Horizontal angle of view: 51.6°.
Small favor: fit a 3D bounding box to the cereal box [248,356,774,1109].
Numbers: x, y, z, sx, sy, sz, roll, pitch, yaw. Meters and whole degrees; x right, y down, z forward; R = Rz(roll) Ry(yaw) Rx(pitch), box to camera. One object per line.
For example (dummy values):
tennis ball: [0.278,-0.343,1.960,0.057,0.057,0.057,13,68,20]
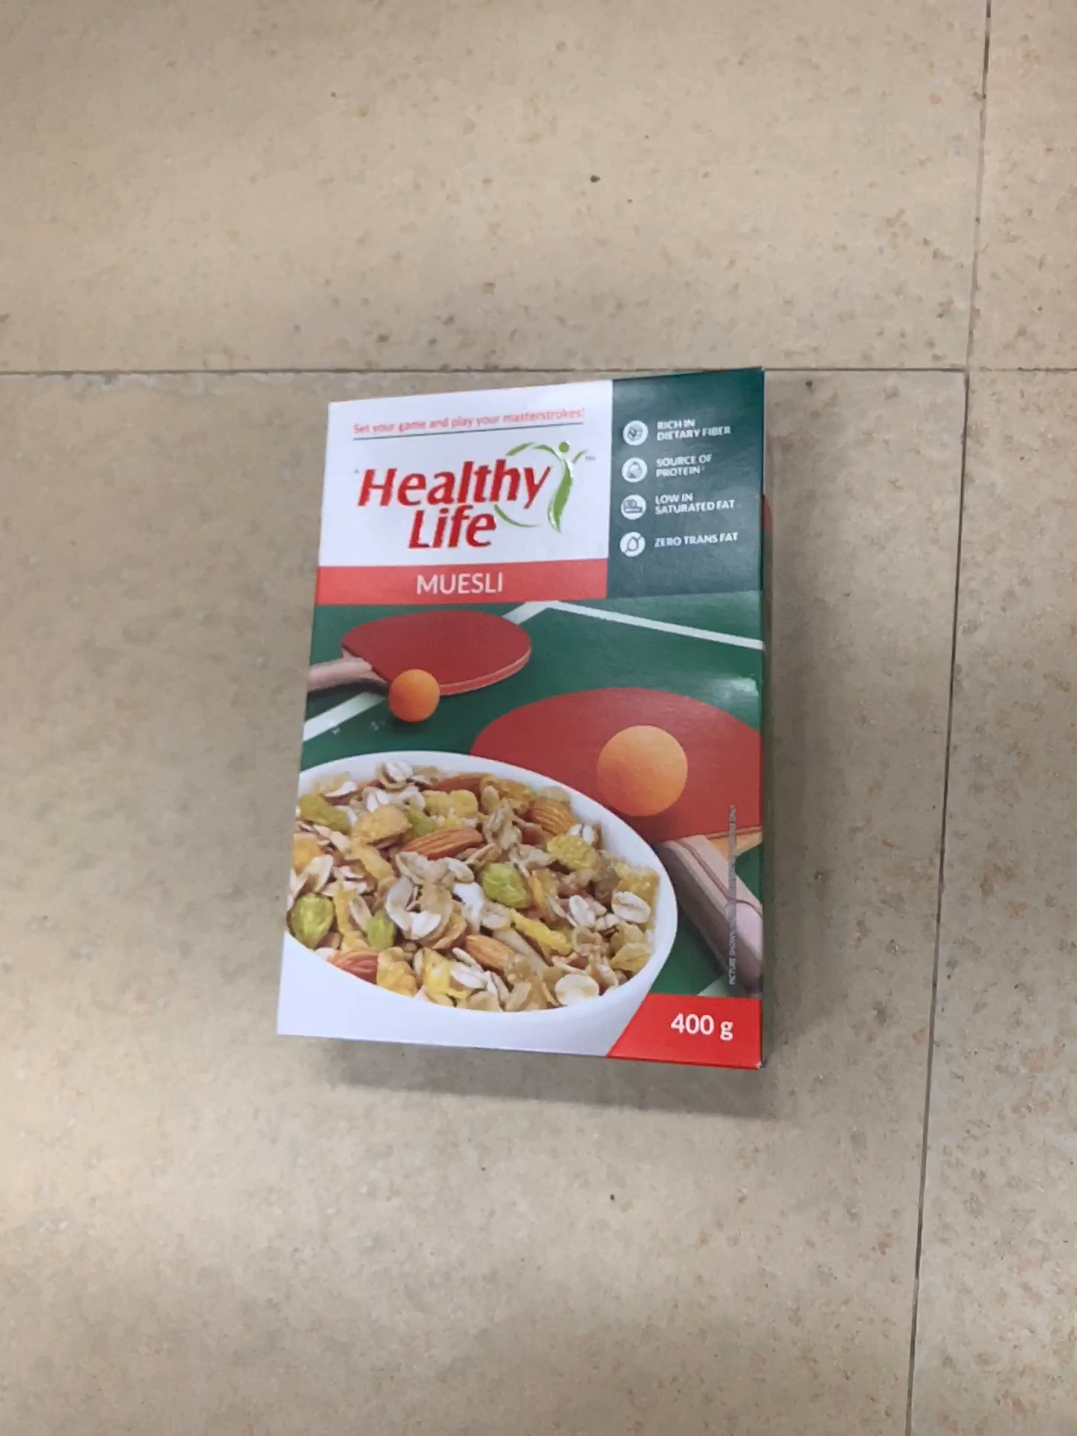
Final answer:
cereal box: [0.000,0.005,0.391,0.160,0.080,0.230,0,79,12]
